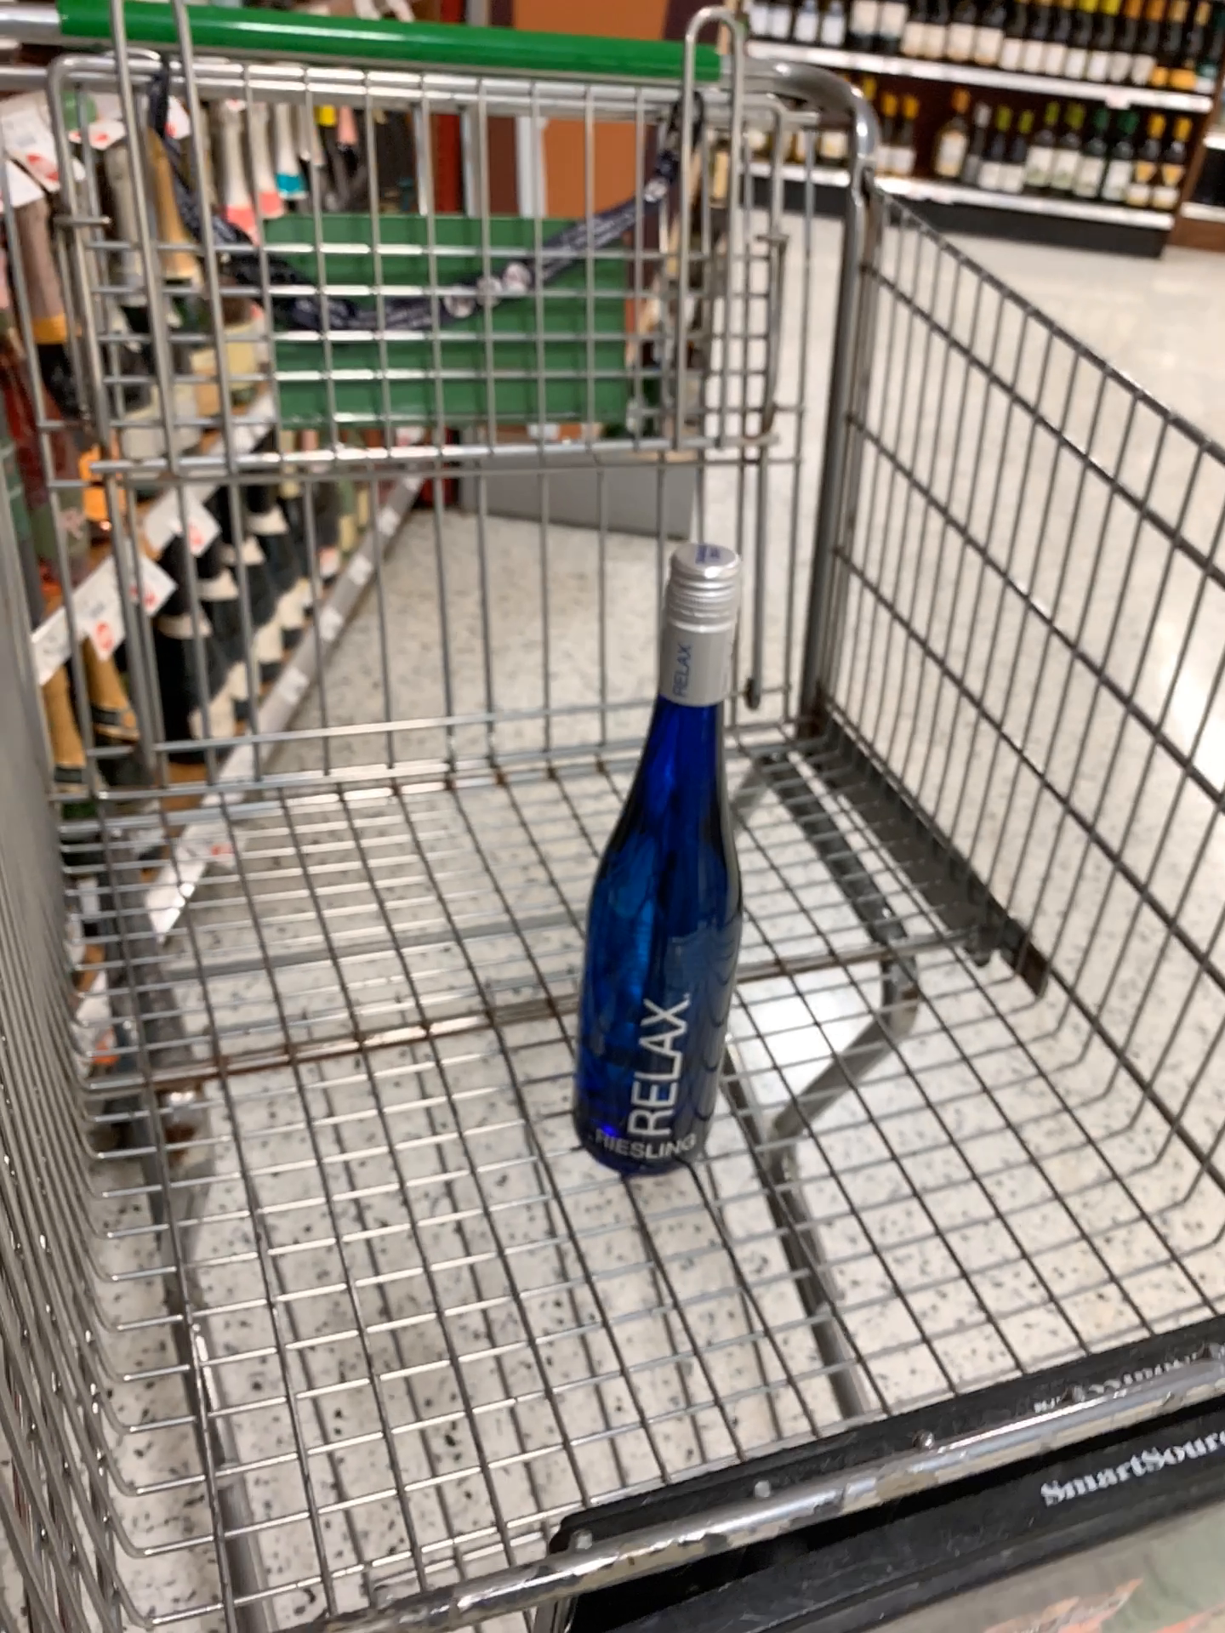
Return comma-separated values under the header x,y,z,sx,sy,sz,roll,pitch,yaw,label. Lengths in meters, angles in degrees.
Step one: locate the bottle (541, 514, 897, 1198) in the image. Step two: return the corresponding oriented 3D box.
x,y,z,sx,sy,sz,roll,pitch,yaw,label
0.033,0.029,0.577,0.090,0.307,0.091,4,35,-3,bottle
